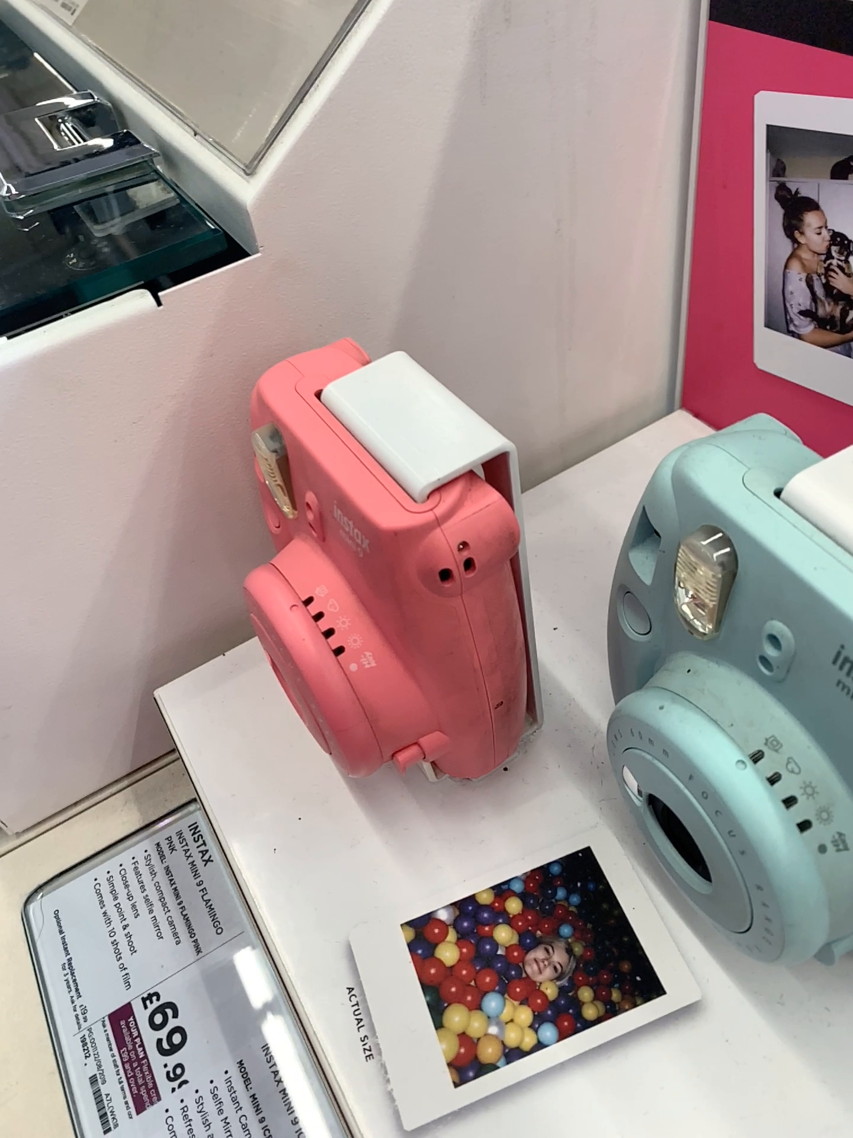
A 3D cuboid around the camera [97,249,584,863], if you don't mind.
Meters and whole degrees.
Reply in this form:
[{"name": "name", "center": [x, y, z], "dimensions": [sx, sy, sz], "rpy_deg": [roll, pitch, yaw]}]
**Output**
[{"name": "camera", "center": [-0.022, -0.006, 0.268], "dimensions": [0.080, 0.119, 0.121], "rpy_deg": [-28, 48, -15]}]
